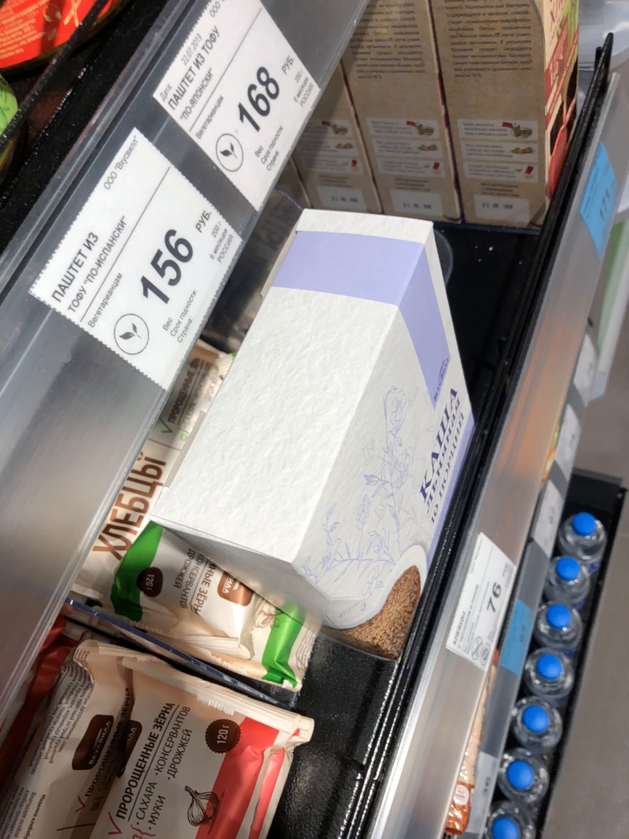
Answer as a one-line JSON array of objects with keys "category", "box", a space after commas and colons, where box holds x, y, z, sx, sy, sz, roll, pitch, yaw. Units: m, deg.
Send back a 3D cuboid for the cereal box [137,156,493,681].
[{"category": "cereal box", "box": [0.024, 0.016, 0.302, 0.050, 0.189, 0.150, 13, 68, 25]}]
